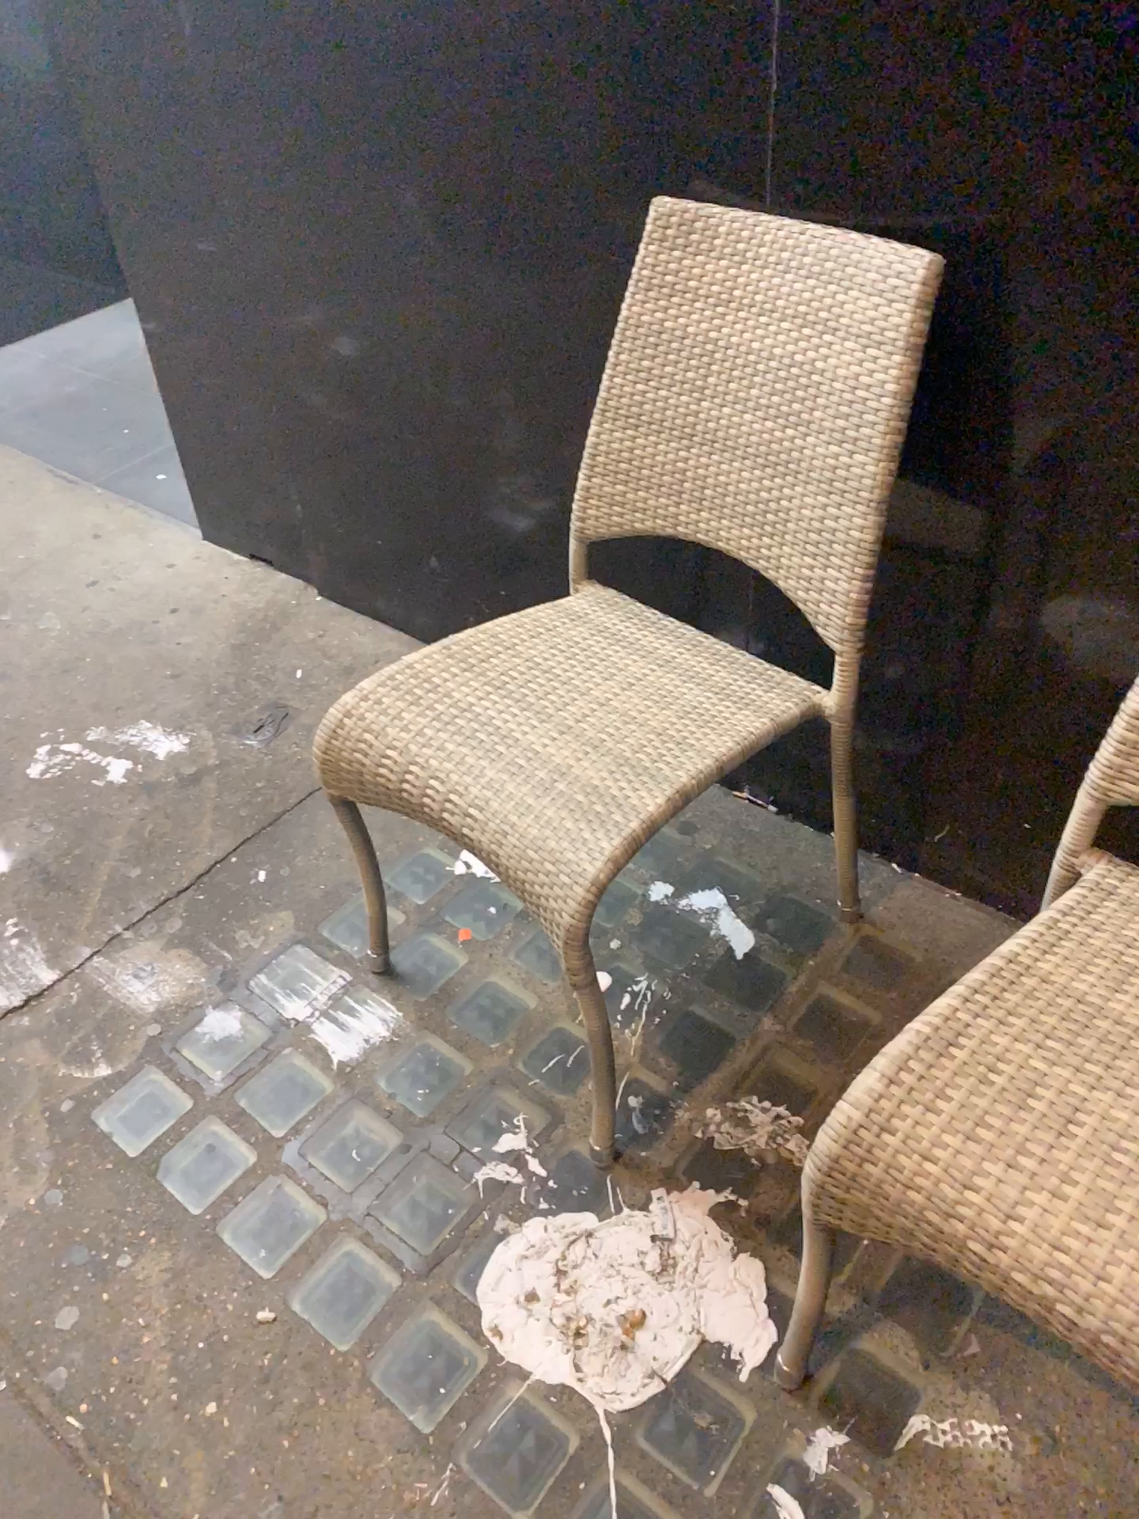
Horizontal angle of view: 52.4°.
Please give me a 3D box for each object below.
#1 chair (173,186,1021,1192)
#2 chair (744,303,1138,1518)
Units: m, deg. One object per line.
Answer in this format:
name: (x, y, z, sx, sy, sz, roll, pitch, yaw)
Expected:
chair: (0.059, -0.098, 1.307, 0.613, 0.831, 0.483, -34, 47, -31)
chair: (0.605, 0.219, 0.884, 0.602, 0.901, 0.584, -25, 42, -36)
